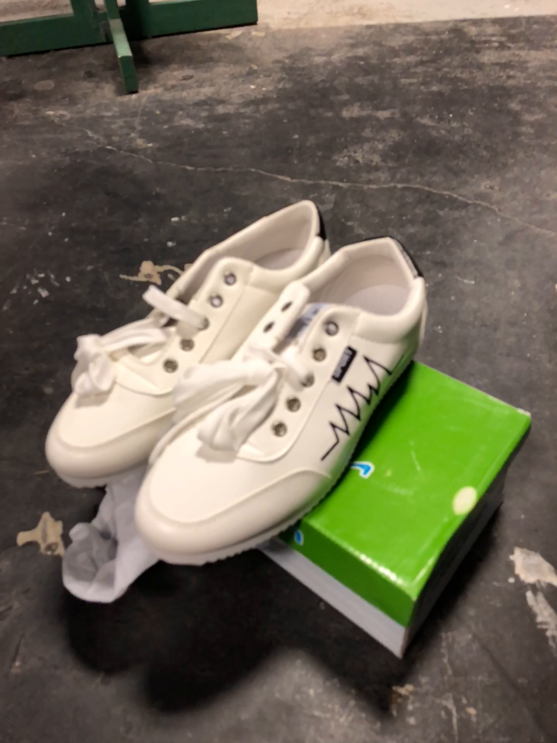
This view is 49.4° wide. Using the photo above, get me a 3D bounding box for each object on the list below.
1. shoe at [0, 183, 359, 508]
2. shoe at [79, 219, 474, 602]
[{"bbox_3d":[-0.060,-0.039,0.454,0.090,0.079,0.281,25,52,34],"label":"shoe"},{"bbox_3d":[0.019,0.003,0.409,0.090,0.079,0.281,25,52,34],"label":"shoe"}]
